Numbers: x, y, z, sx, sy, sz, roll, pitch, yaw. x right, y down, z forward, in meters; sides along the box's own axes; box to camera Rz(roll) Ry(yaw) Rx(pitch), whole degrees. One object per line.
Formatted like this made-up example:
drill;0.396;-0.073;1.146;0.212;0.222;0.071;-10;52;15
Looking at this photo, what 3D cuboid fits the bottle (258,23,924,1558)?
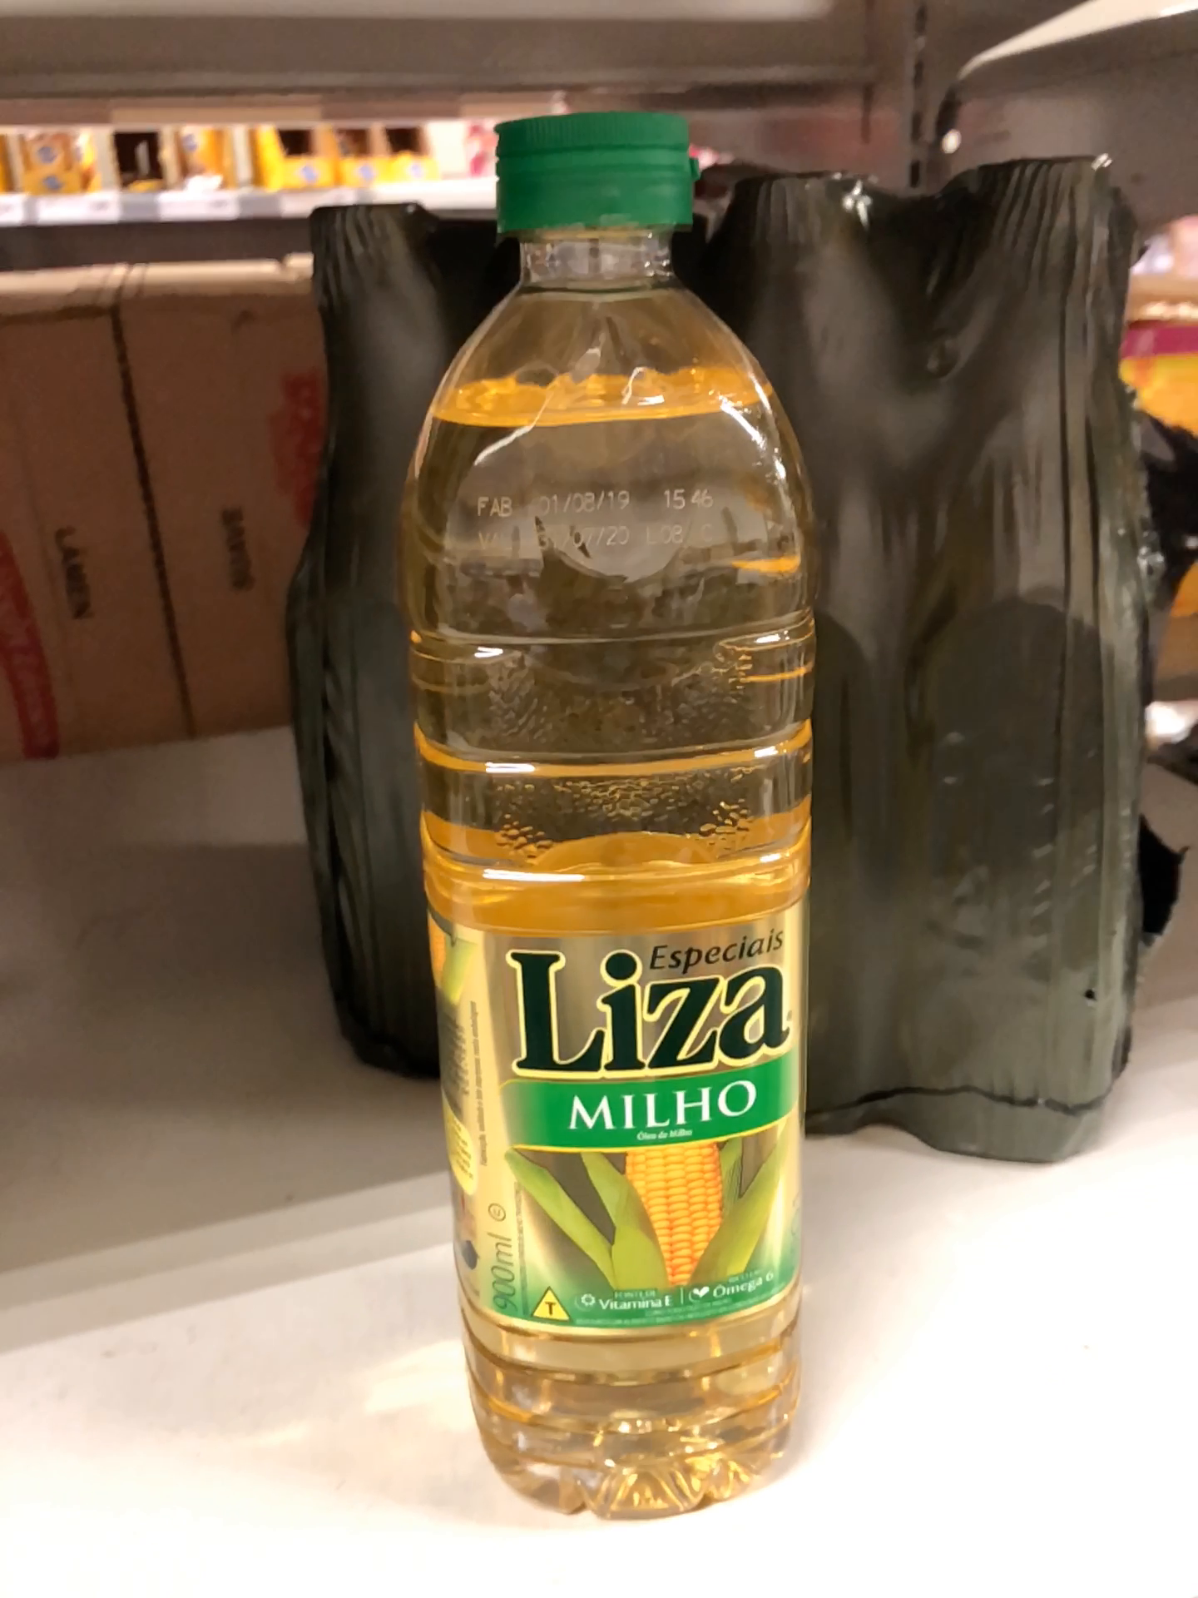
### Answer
bottle;0.002;0.010;0.239;0.080;0.248;0.070;-6;23;-6
